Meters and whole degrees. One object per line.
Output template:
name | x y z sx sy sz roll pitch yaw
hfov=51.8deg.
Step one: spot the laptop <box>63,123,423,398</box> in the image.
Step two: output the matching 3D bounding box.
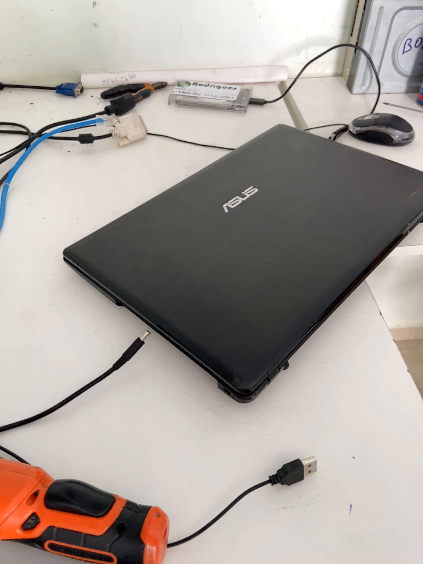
laptop | 0.065 -0.073 0.496 0.253 0.010 0.382 32 55 30
